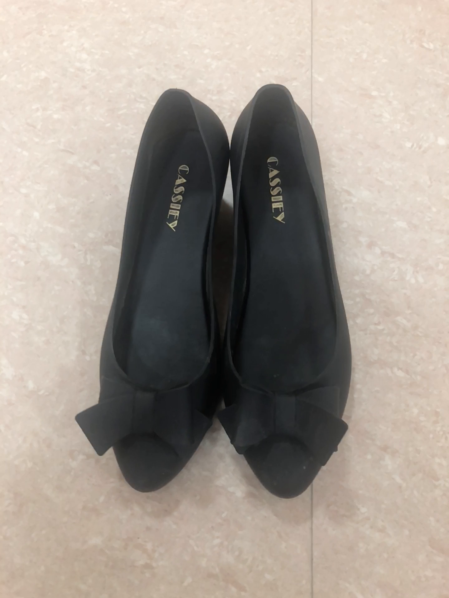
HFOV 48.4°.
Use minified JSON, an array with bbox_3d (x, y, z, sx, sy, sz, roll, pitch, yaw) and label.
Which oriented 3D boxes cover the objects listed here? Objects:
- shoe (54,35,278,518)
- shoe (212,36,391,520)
[{"bbox_3d":[-0.022,-0.025,0.348,0.090,0.090,0.310,5,72,8],"label":"shoe"},{"bbox_3d":[0.049,-0.022,0.346,0.090,0.090,0.310,0,72,6],"label":"shoe"}]
